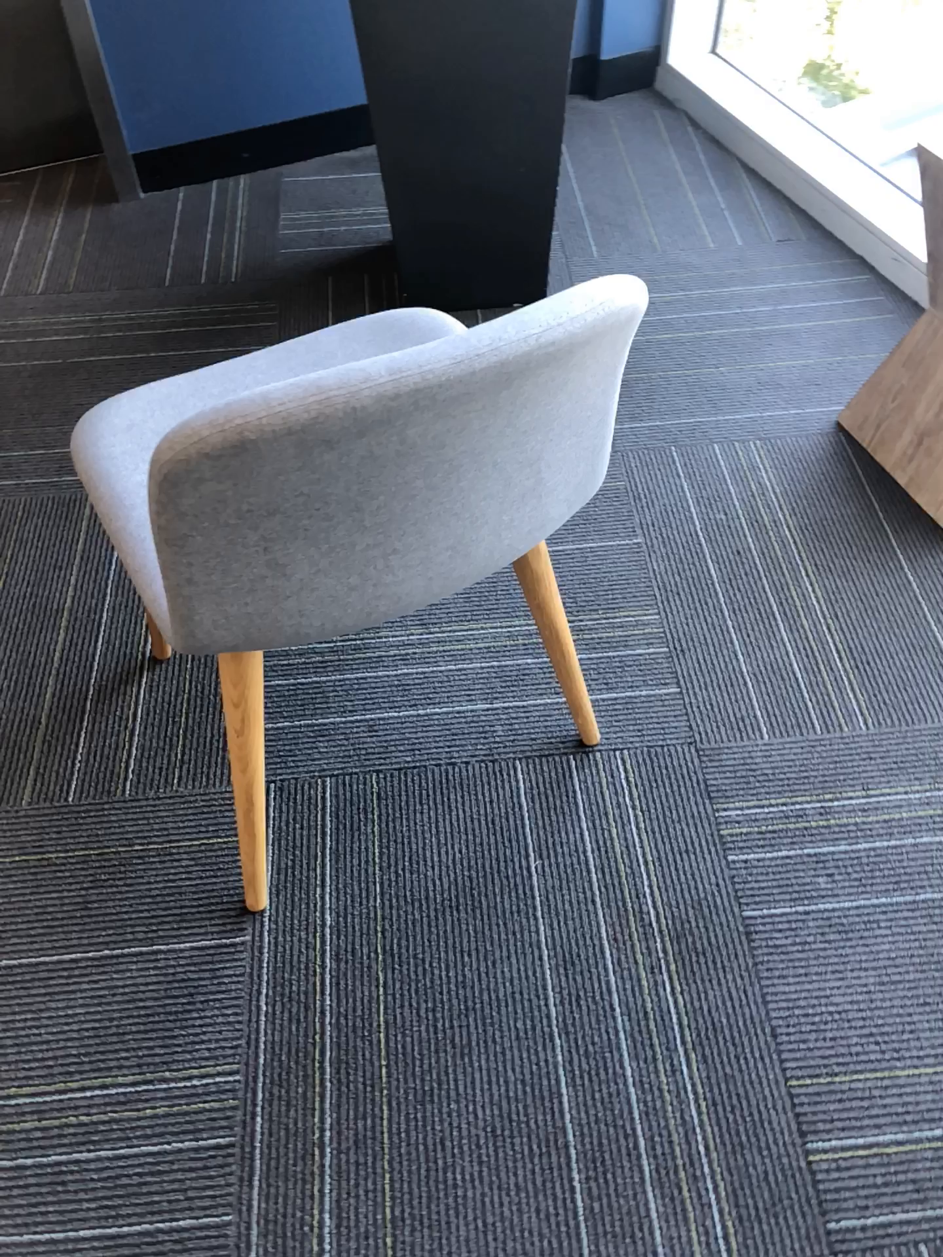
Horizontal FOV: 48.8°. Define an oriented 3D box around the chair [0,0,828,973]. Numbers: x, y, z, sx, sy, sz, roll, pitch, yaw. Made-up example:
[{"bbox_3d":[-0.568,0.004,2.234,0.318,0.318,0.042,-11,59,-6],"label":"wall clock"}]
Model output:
[{"bbox_3d":[-0.153,-0.169,1.117,0.560,0.847,0.612,-21,56,-16],"label":"chair"}]
